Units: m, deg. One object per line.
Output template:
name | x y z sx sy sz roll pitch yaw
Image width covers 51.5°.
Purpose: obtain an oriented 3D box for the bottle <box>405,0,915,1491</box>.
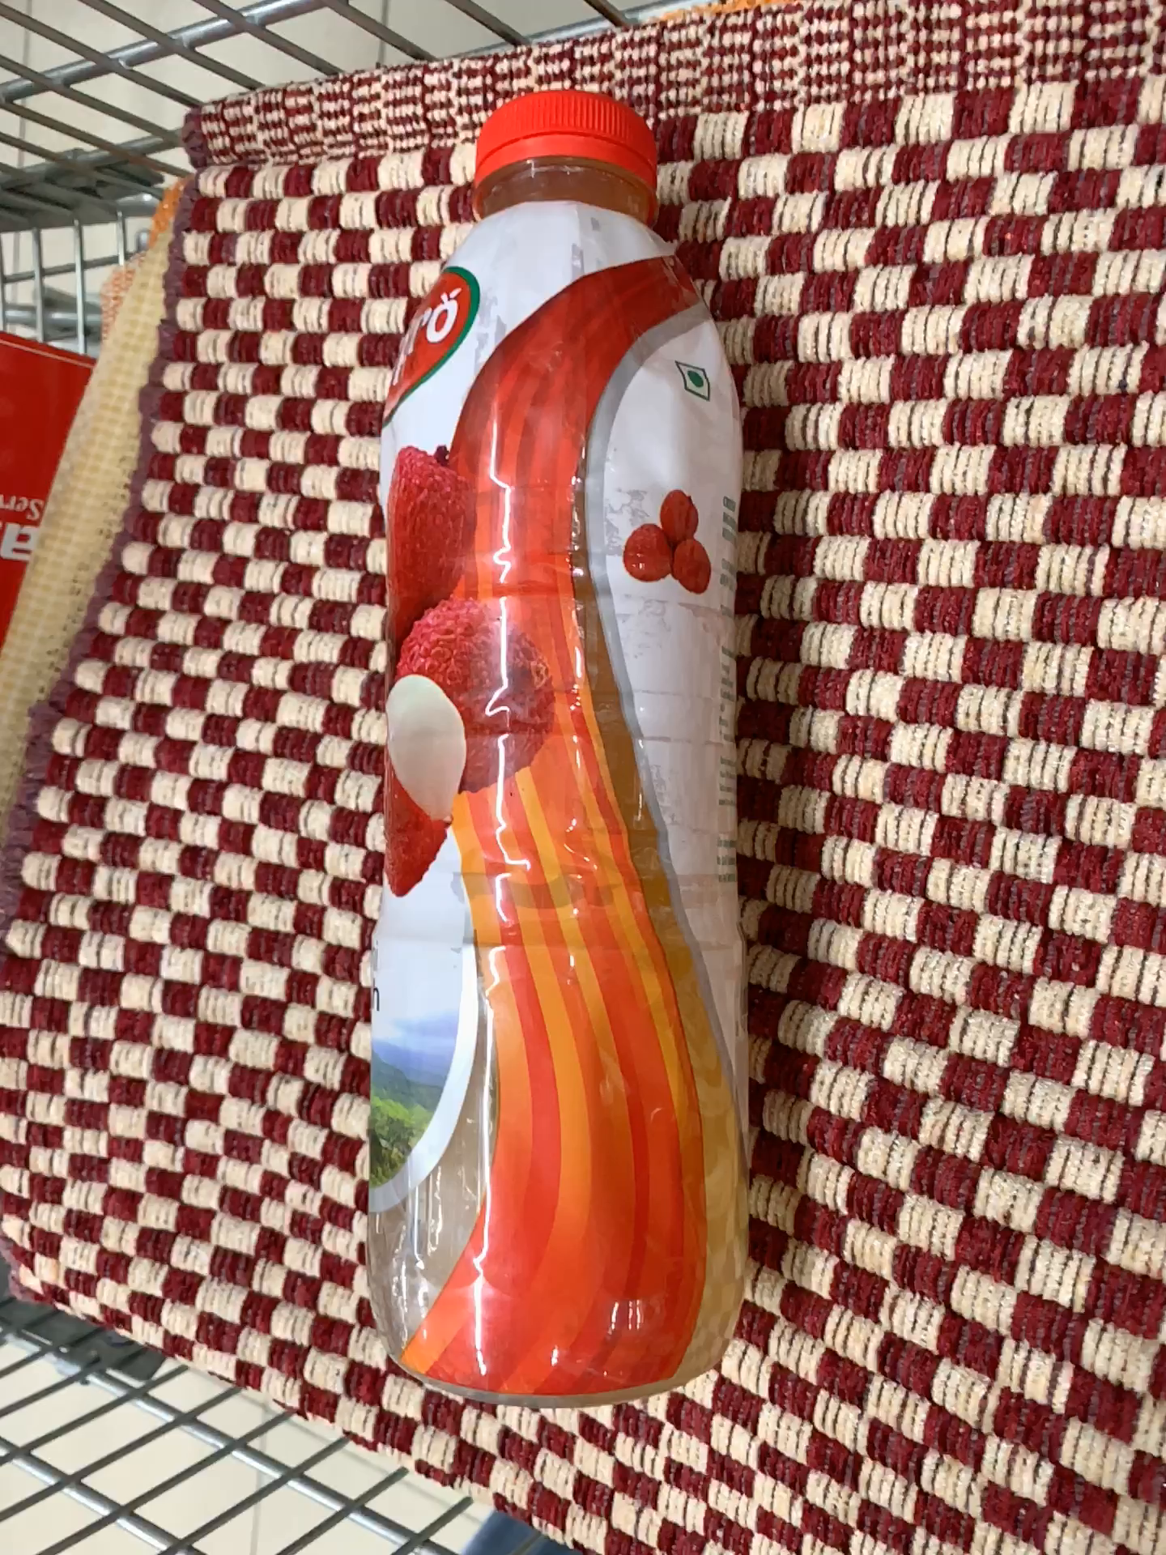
bottle | 0.008 -0.011 0.227 0.080 0.070 0.240 0 90 -10
